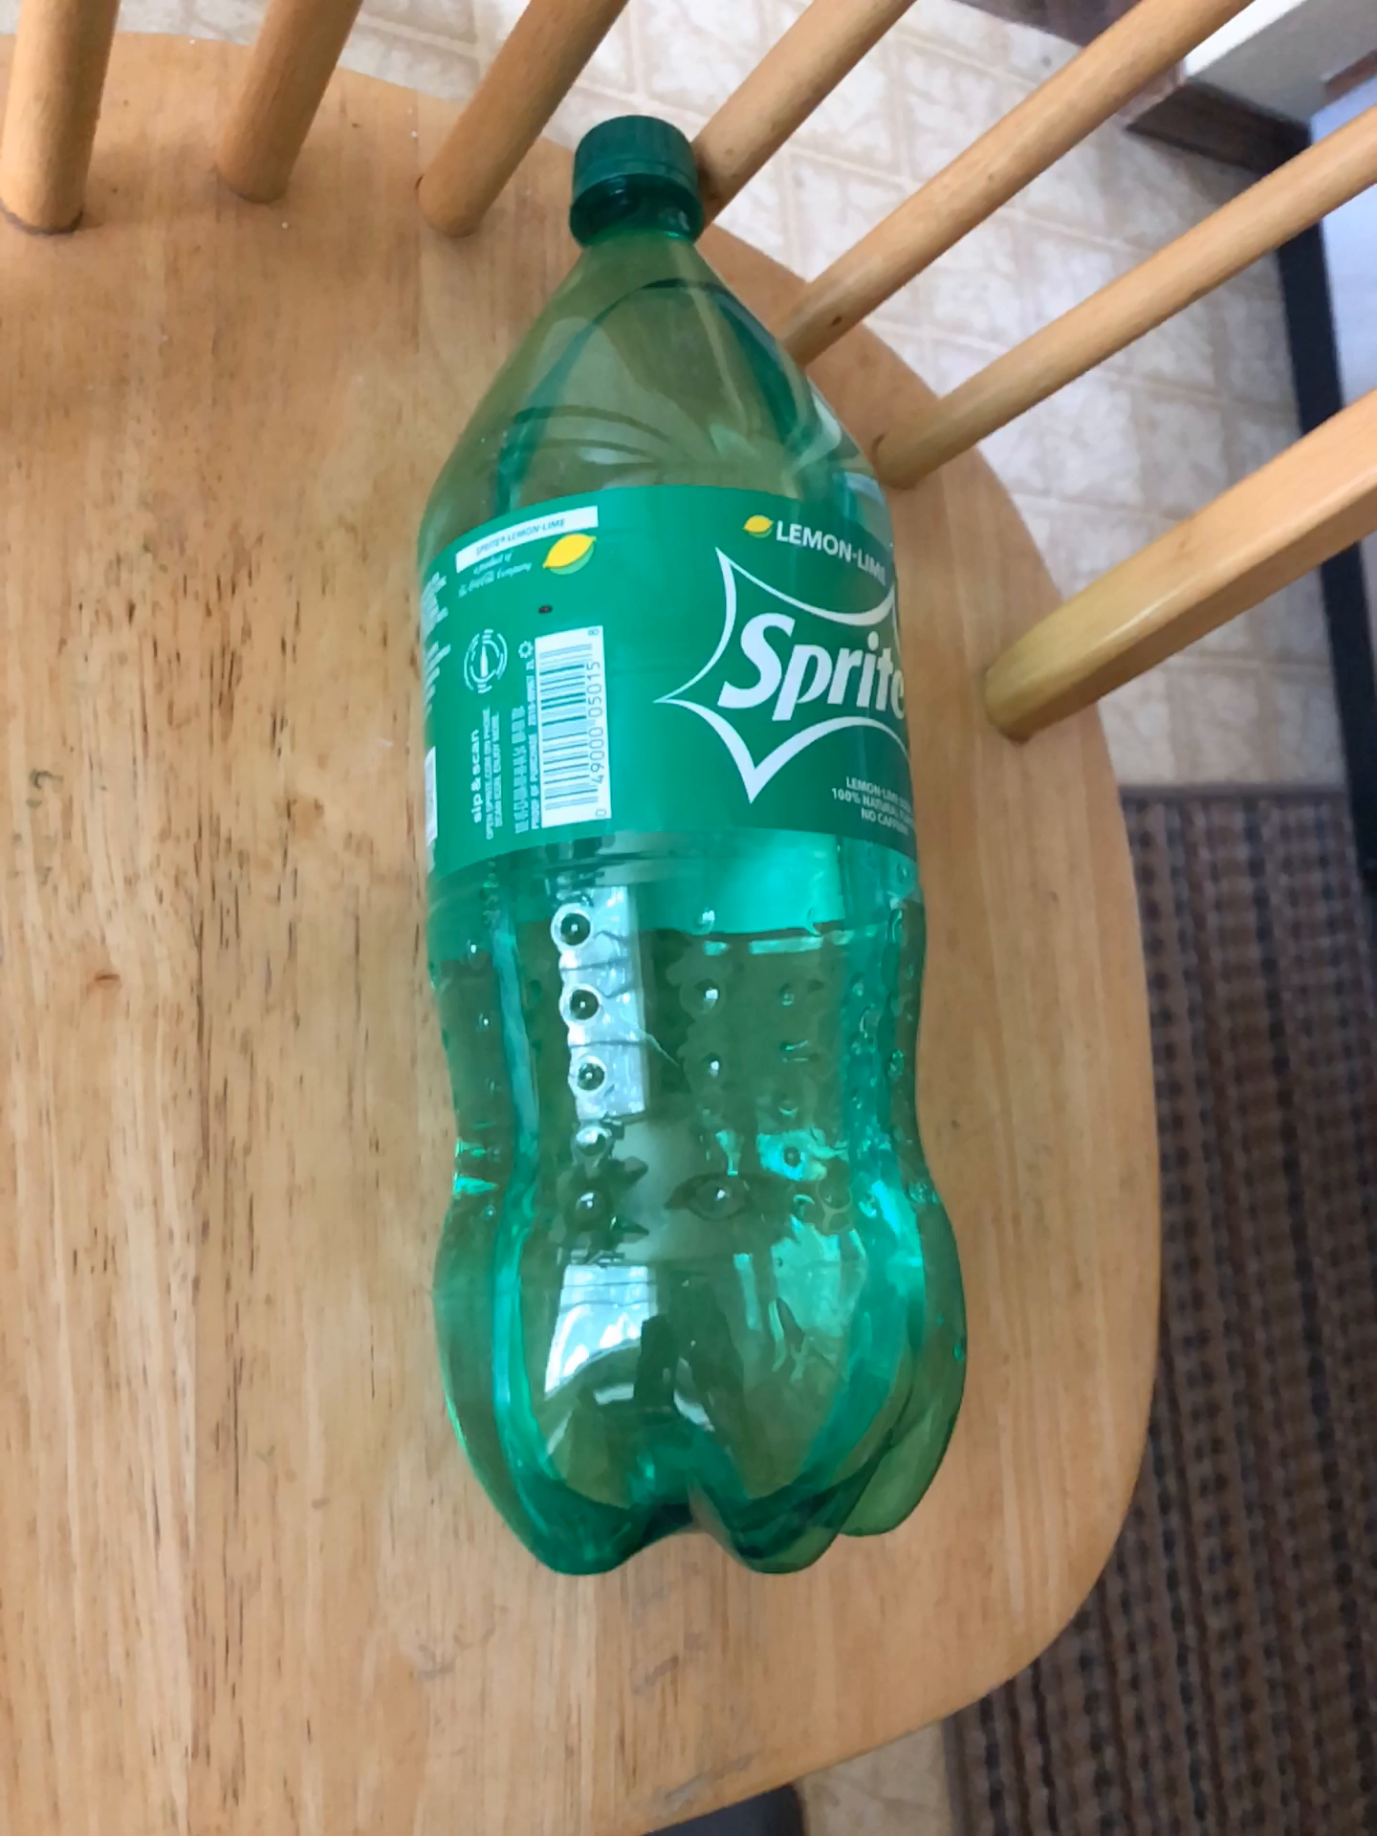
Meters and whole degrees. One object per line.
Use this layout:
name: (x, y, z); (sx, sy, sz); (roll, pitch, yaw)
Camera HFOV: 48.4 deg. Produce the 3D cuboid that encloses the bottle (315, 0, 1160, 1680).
bottle: (0.003, -0.028, 0.313); (0.111, 0.110, 0.300); (7, 76, -43)
